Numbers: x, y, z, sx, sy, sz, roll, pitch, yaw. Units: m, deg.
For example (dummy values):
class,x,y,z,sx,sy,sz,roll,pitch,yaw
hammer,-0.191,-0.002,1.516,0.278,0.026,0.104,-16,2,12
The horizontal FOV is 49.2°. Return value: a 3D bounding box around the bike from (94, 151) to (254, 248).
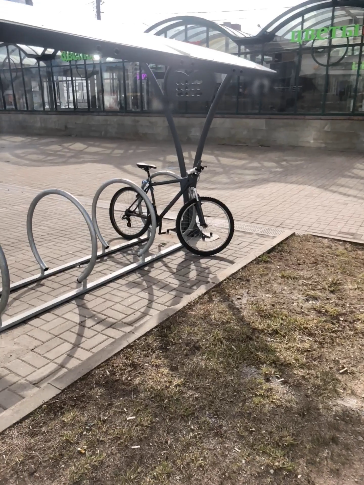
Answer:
class,x,y,z,sx,sy,sz,roll,pitch,yaw
bike,-0.100,-0.550,4.681,1.610,0.980,0.564,6,19,22
